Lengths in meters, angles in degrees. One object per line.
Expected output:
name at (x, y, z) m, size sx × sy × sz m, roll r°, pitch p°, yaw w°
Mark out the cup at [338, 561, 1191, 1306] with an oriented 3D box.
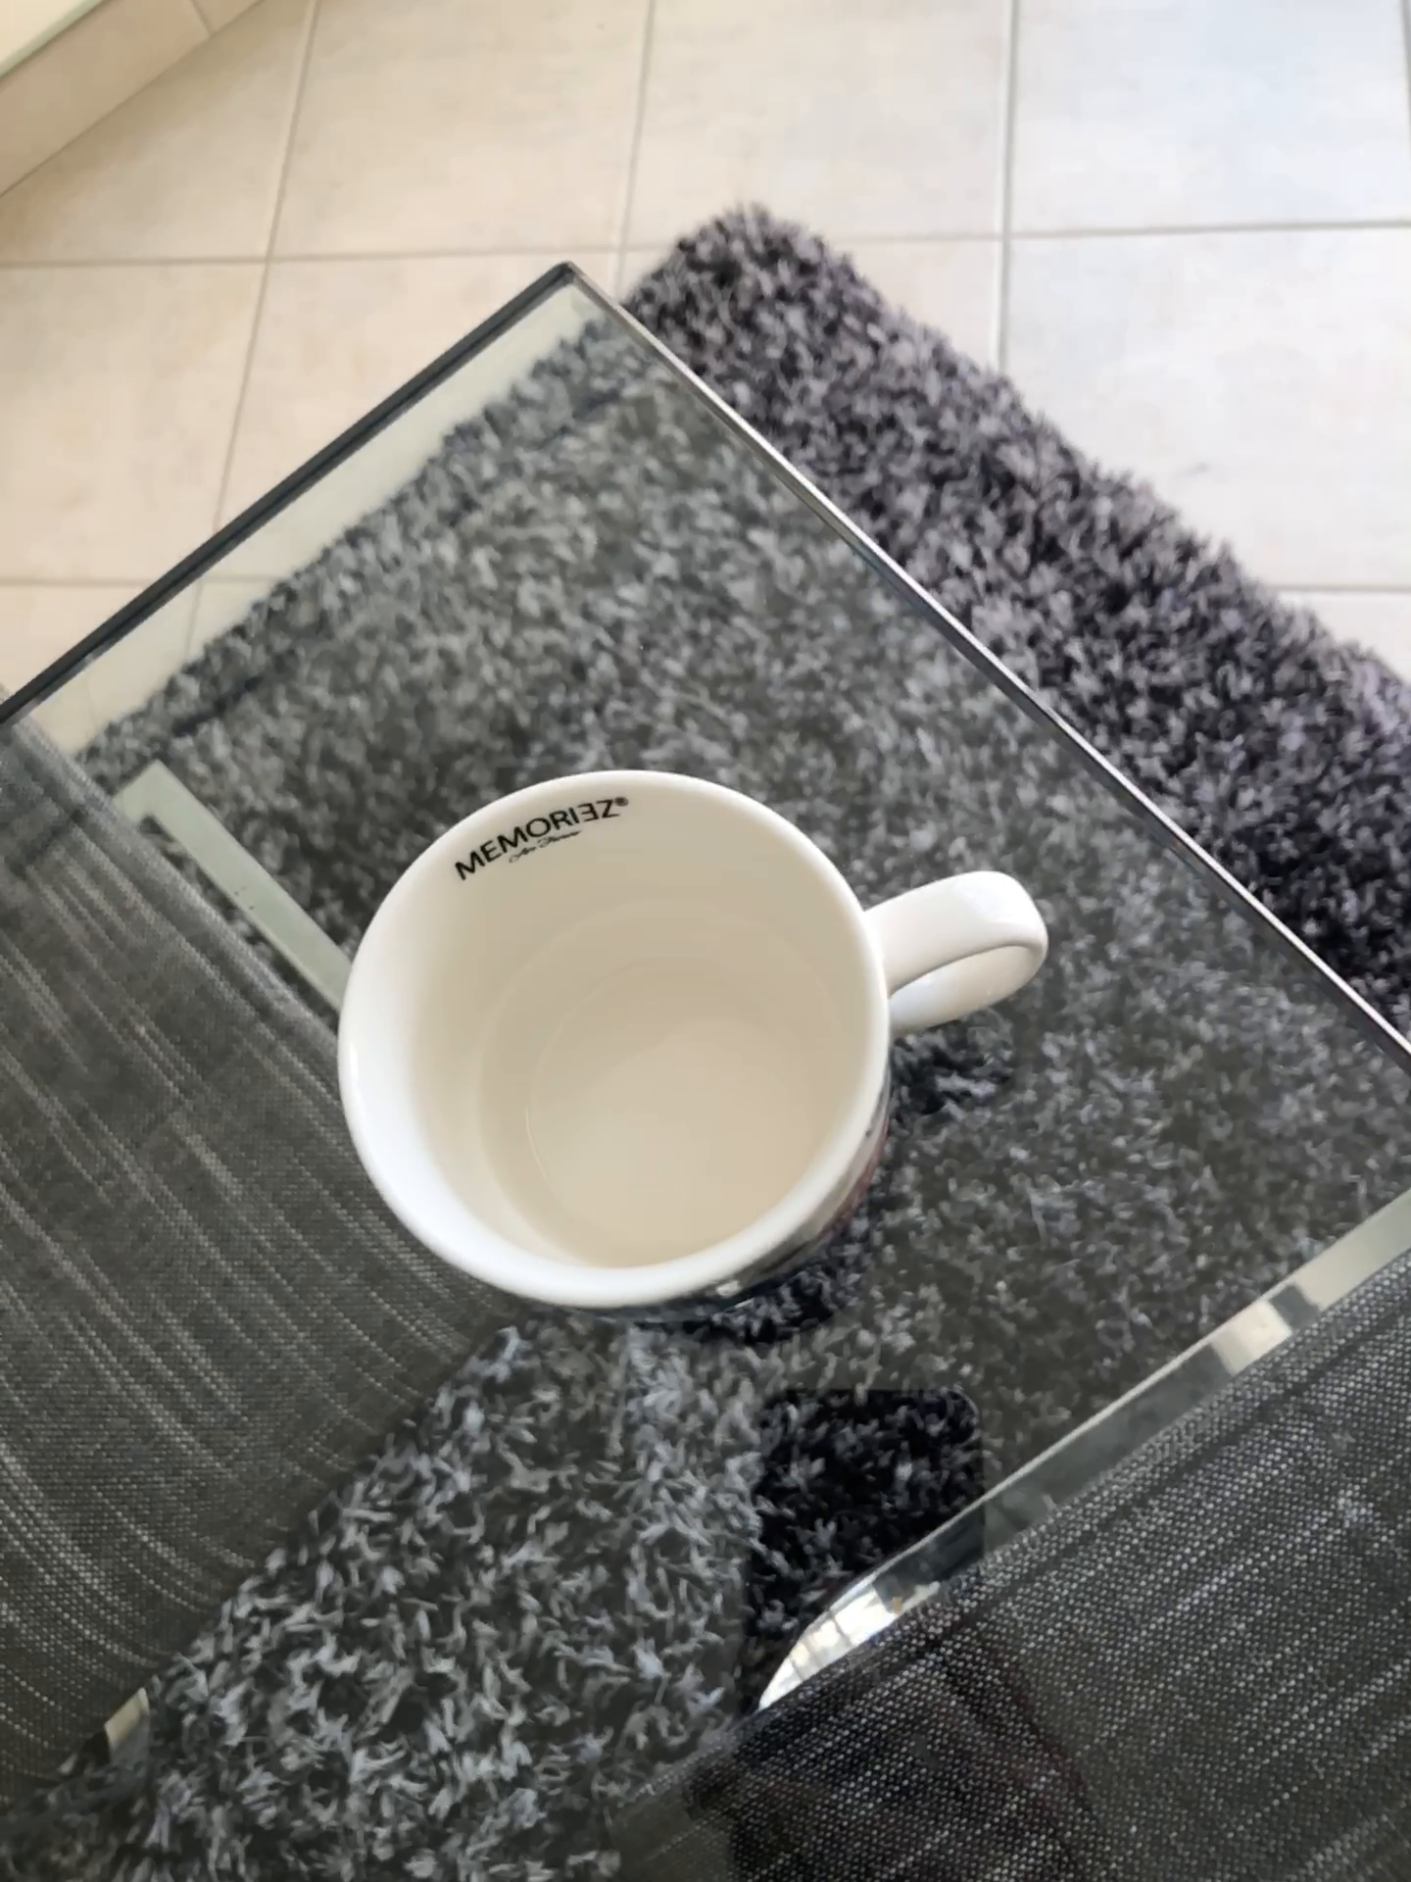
cup at (0.007, 0.003, 0.212) m, size 0.090 × 0.050 × 0.070 m, roll -14°, pitch 72°, yaw 4°
